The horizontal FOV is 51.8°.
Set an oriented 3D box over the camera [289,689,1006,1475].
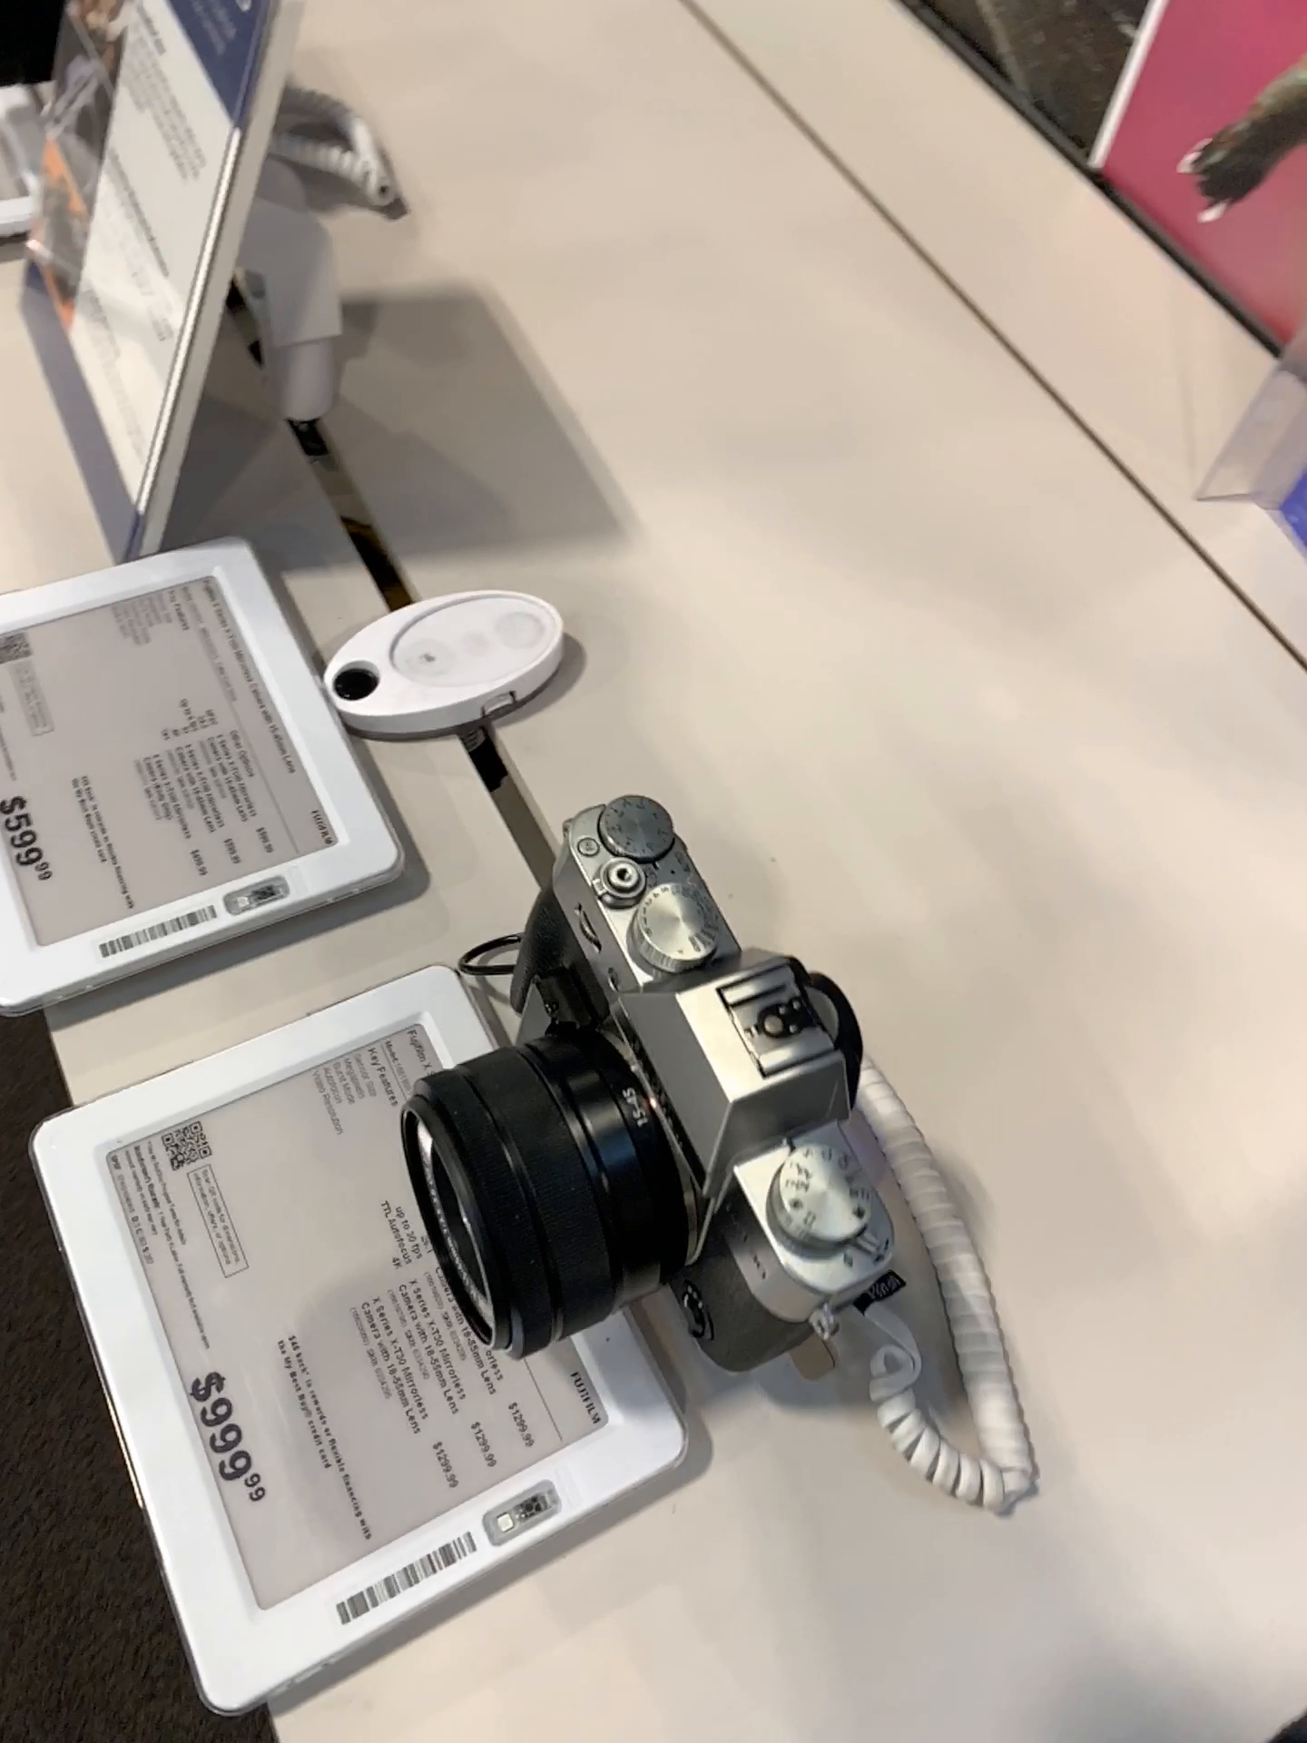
[{"bbox_3d":[-0.009,0.046,0.308,0.100,0.080,0.130,-20,63,-17],"label":"camera"}]
